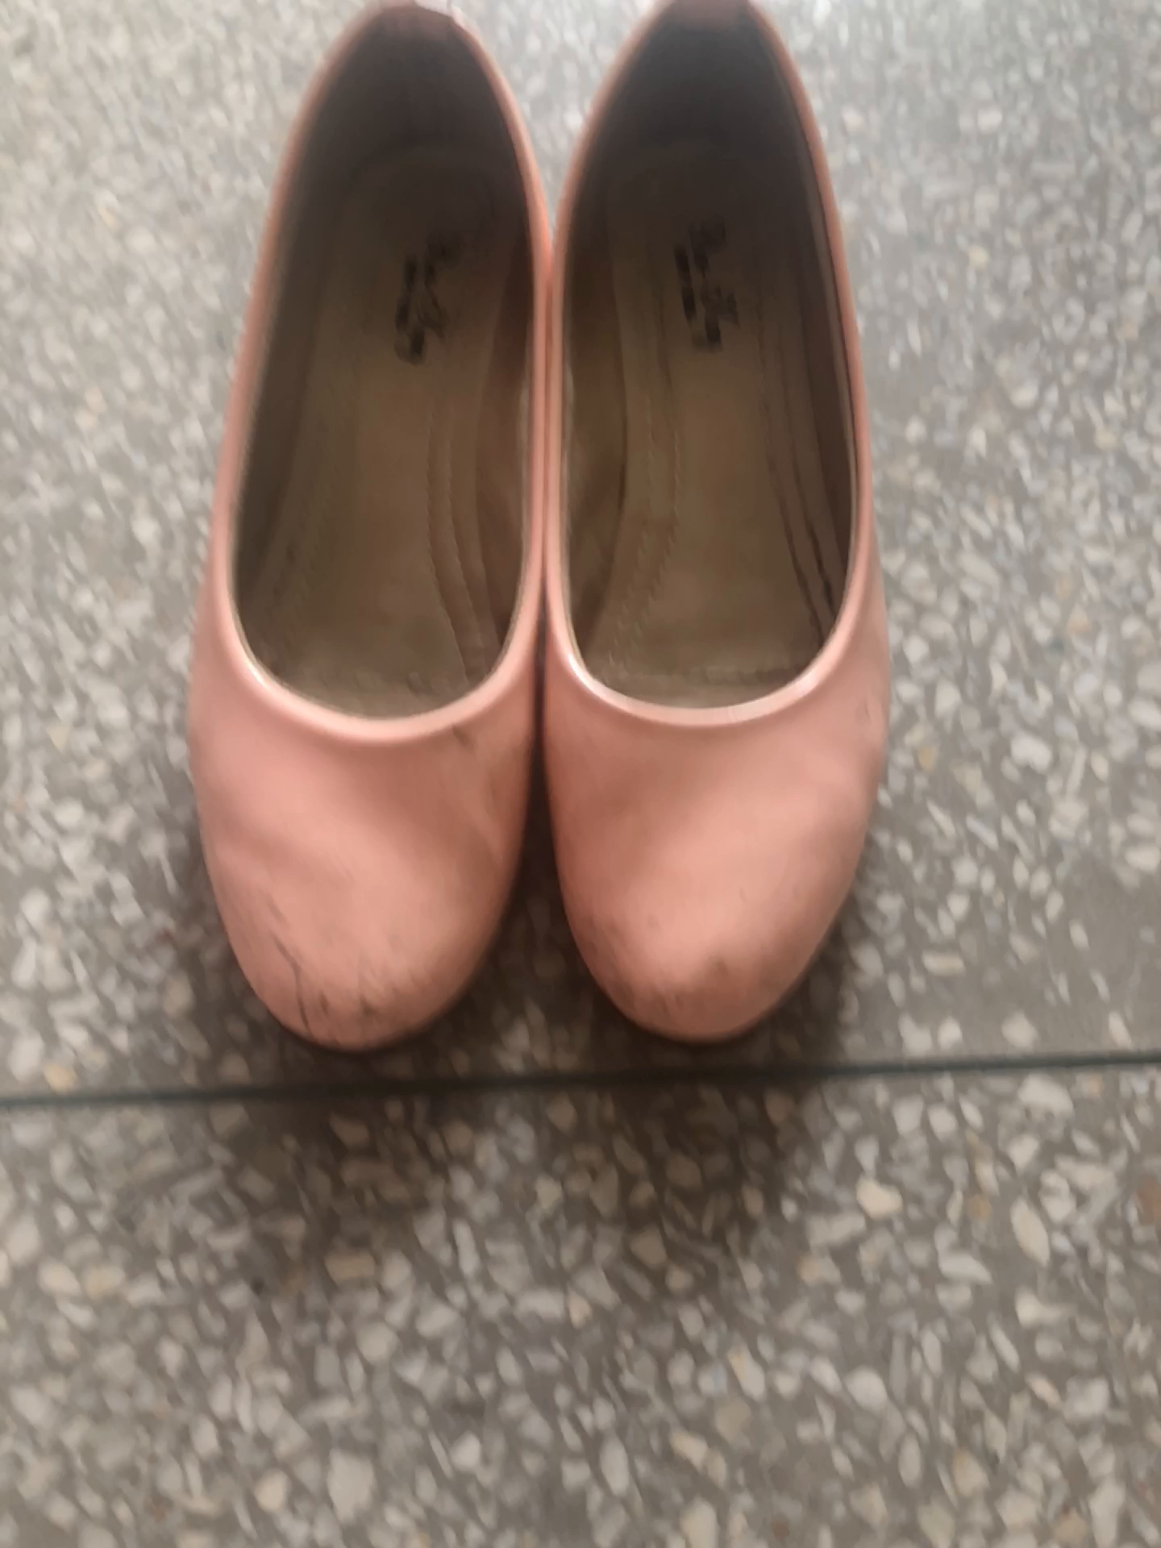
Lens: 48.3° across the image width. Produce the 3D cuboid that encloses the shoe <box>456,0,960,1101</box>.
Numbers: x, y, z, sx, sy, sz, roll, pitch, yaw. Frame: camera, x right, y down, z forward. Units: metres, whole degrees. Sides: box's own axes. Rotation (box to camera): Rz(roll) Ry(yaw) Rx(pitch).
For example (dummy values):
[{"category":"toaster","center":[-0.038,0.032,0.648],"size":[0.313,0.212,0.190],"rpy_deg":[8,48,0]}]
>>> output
[{"category":"shoe","center":[0.025,-0.060,0.300],"size":[0.090,0.070,0.260],"rpy_deg":[1,74,1]}]

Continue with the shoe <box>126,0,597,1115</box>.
[{"category":"shoe","center":[-0.043,-0.057,0.310],"size":[0.090,0.070,0.260],"rpy_deg":[1,82,1]}]
